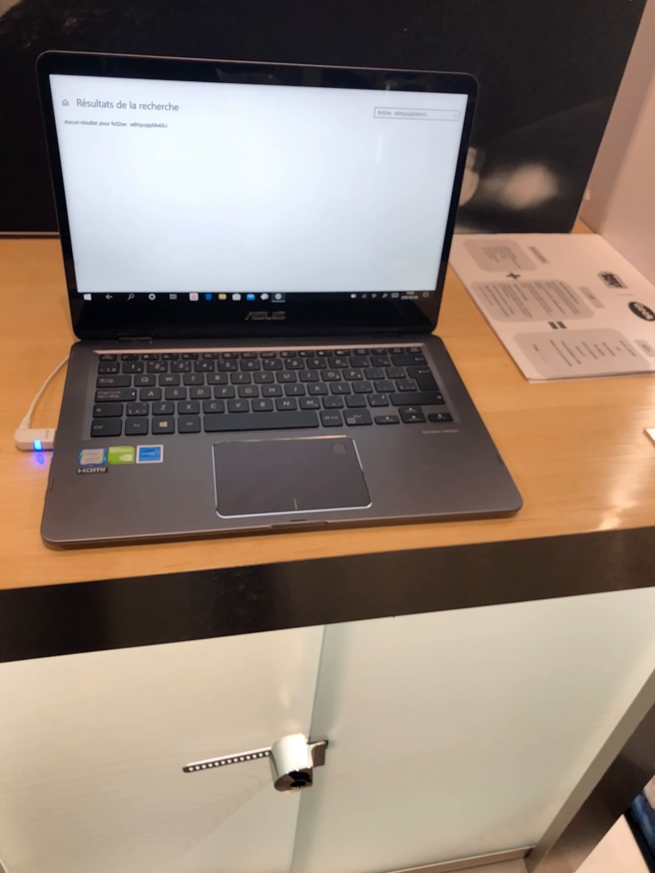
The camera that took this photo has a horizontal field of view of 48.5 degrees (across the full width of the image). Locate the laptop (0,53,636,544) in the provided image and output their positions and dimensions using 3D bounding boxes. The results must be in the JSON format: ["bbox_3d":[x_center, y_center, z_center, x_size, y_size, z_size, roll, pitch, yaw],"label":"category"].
[{"bbox_3d":[-0.028,-0.103,0.504,0.320,0.224,0.240,-3,41,-11],"label":"laptop"}]
